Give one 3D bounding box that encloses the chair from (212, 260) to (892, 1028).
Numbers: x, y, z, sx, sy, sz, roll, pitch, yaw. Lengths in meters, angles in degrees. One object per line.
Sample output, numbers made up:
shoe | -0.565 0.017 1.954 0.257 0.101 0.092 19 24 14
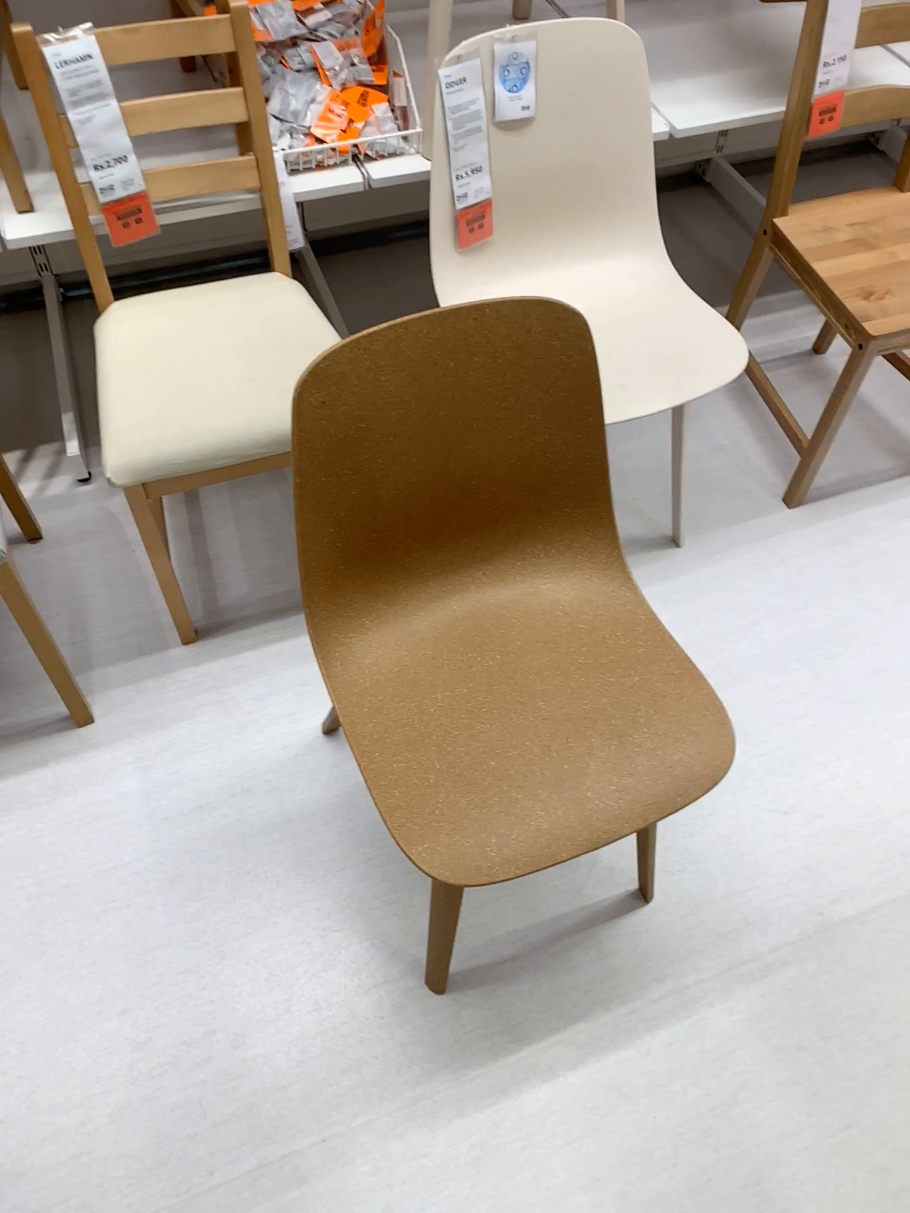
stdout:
chair | 0.044 0.088 1.197 0.460 0.758 0.561 -17 56 -15
